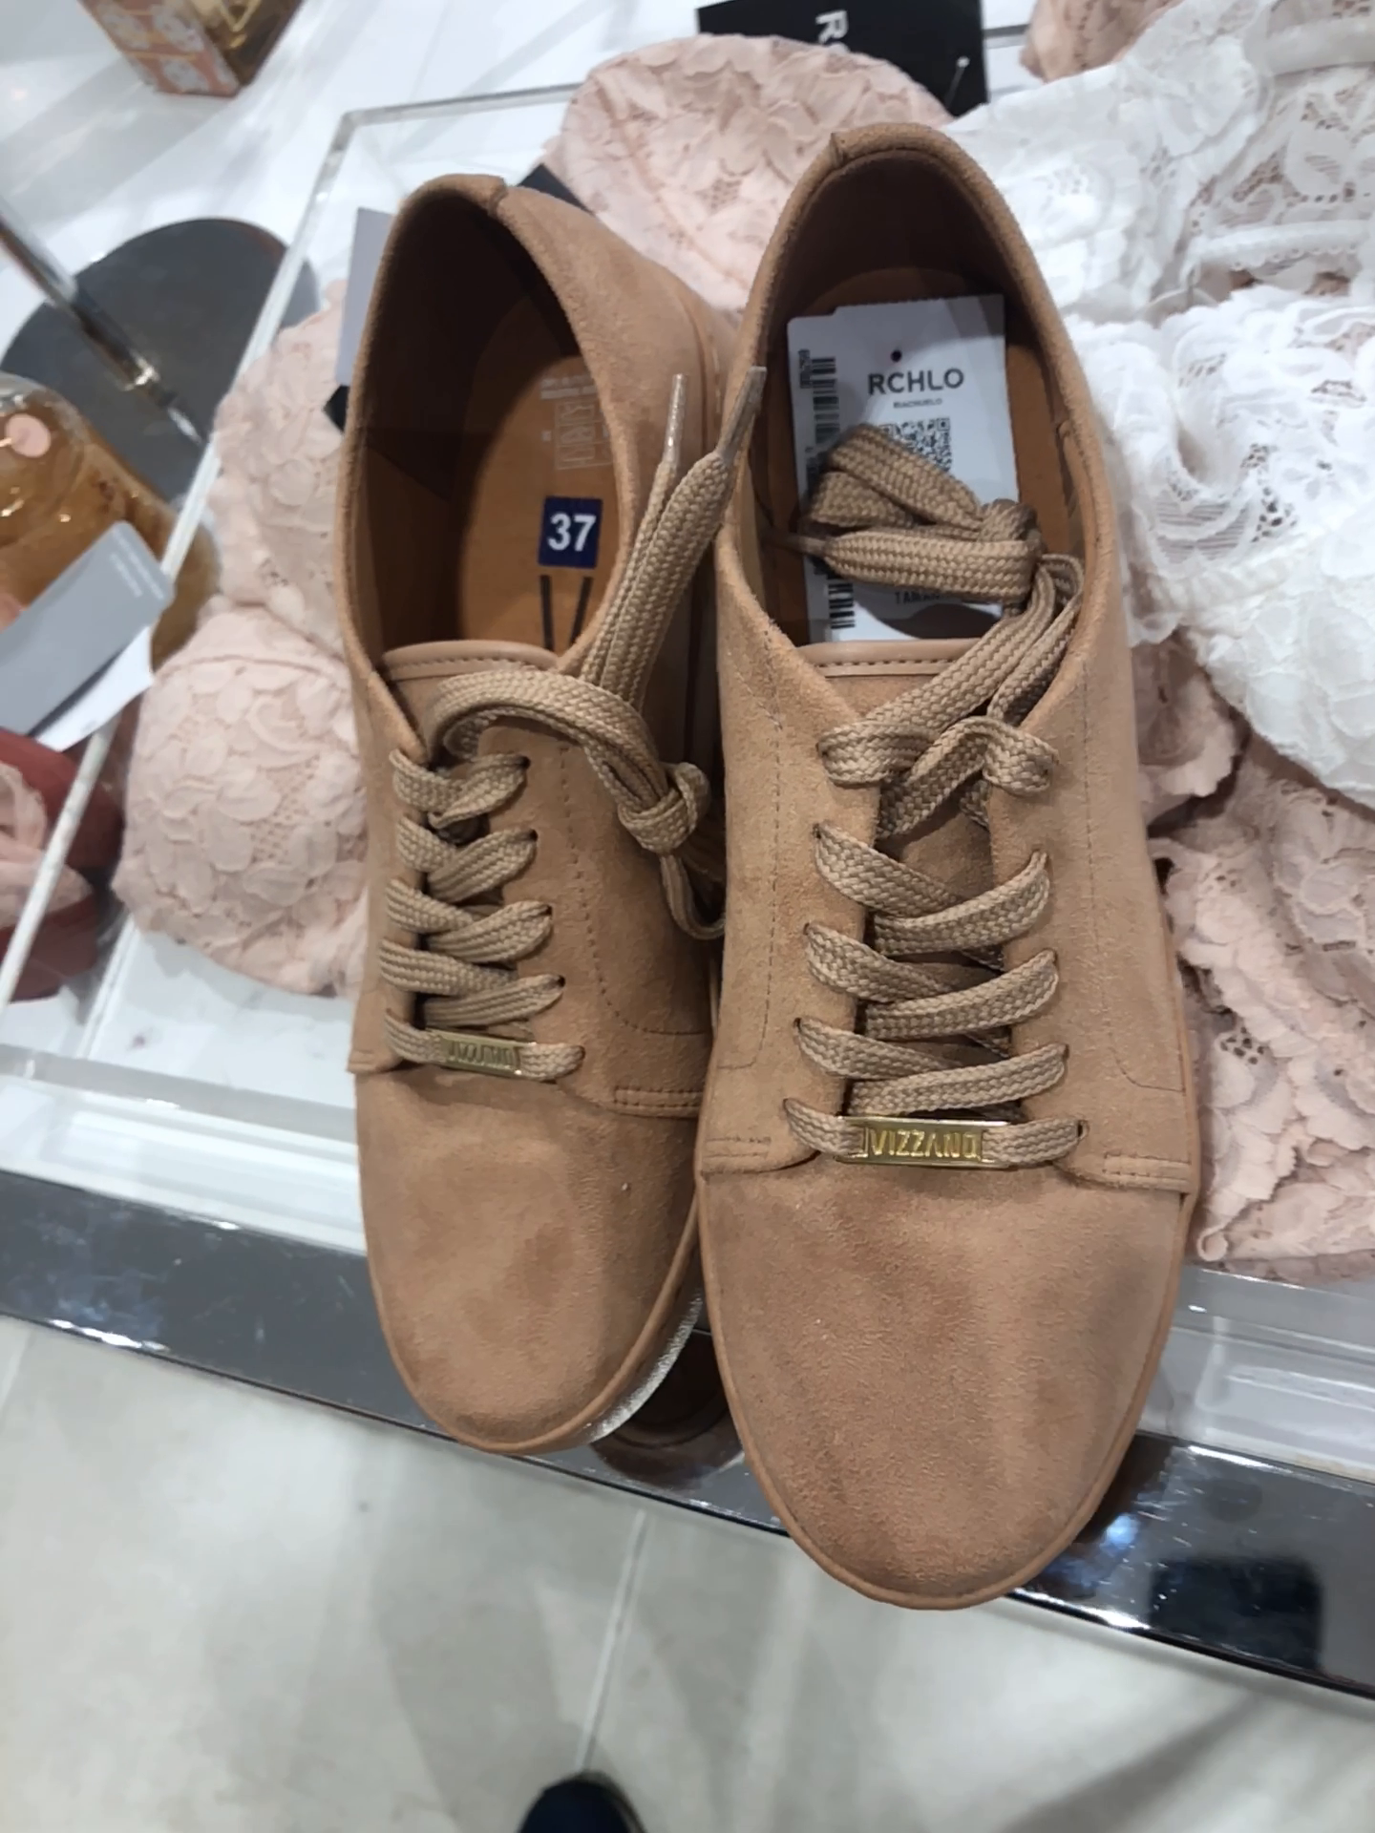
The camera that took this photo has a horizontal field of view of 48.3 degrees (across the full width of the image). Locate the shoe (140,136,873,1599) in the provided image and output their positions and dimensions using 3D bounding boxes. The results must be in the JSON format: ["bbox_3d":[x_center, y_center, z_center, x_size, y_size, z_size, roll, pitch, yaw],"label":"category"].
[{"bbox_3d":[-0.029,-0.010,0.313,0.090,0.100,0.240,4,87,23],"label":"shoe"}]

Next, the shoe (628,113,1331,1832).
[{"bbox_3d":[0.044,0.006,0.265,0.090,0.100,0.240,0,82,6],"label":"shoe"}]
